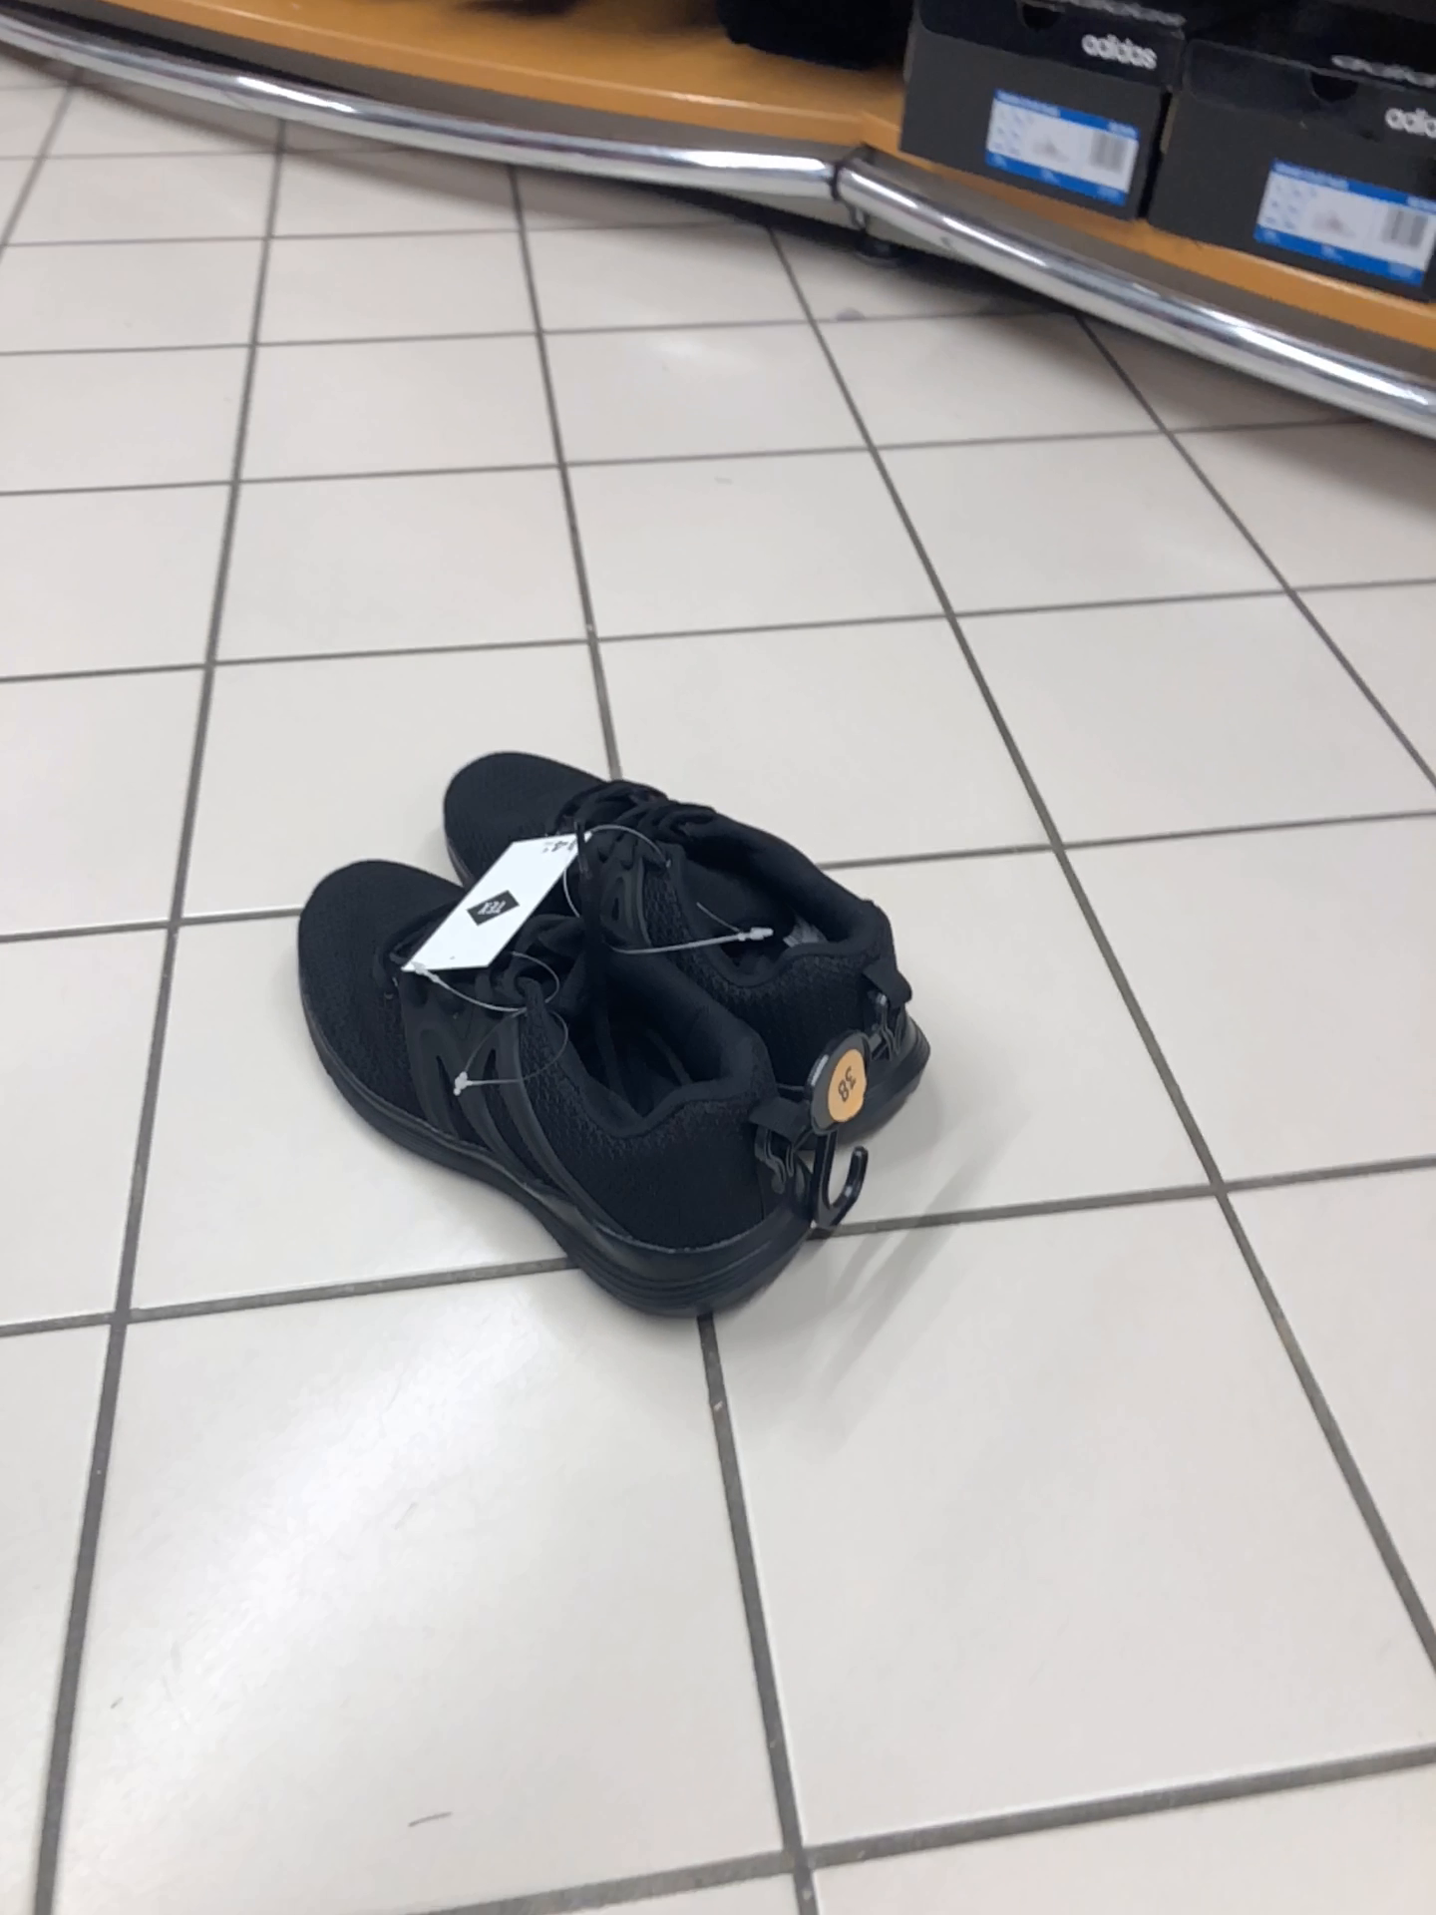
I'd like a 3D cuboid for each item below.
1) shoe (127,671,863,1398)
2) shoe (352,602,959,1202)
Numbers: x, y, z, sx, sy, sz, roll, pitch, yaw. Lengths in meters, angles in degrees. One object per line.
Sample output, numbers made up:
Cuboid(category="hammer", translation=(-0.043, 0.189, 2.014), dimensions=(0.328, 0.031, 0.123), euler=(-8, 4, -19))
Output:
Cuboid(category="shoe", translation=(-0.087, 0.017, 0.590), dimensions=(0.270, 0.119, 0.101), euler=(33, 52, 29))
Cuboid(category="shoe", translation=(-0.033, -0.033, 0.662), dimensions=(0.101, 0.109, 0.250), euler=(-32, 53, -30))
